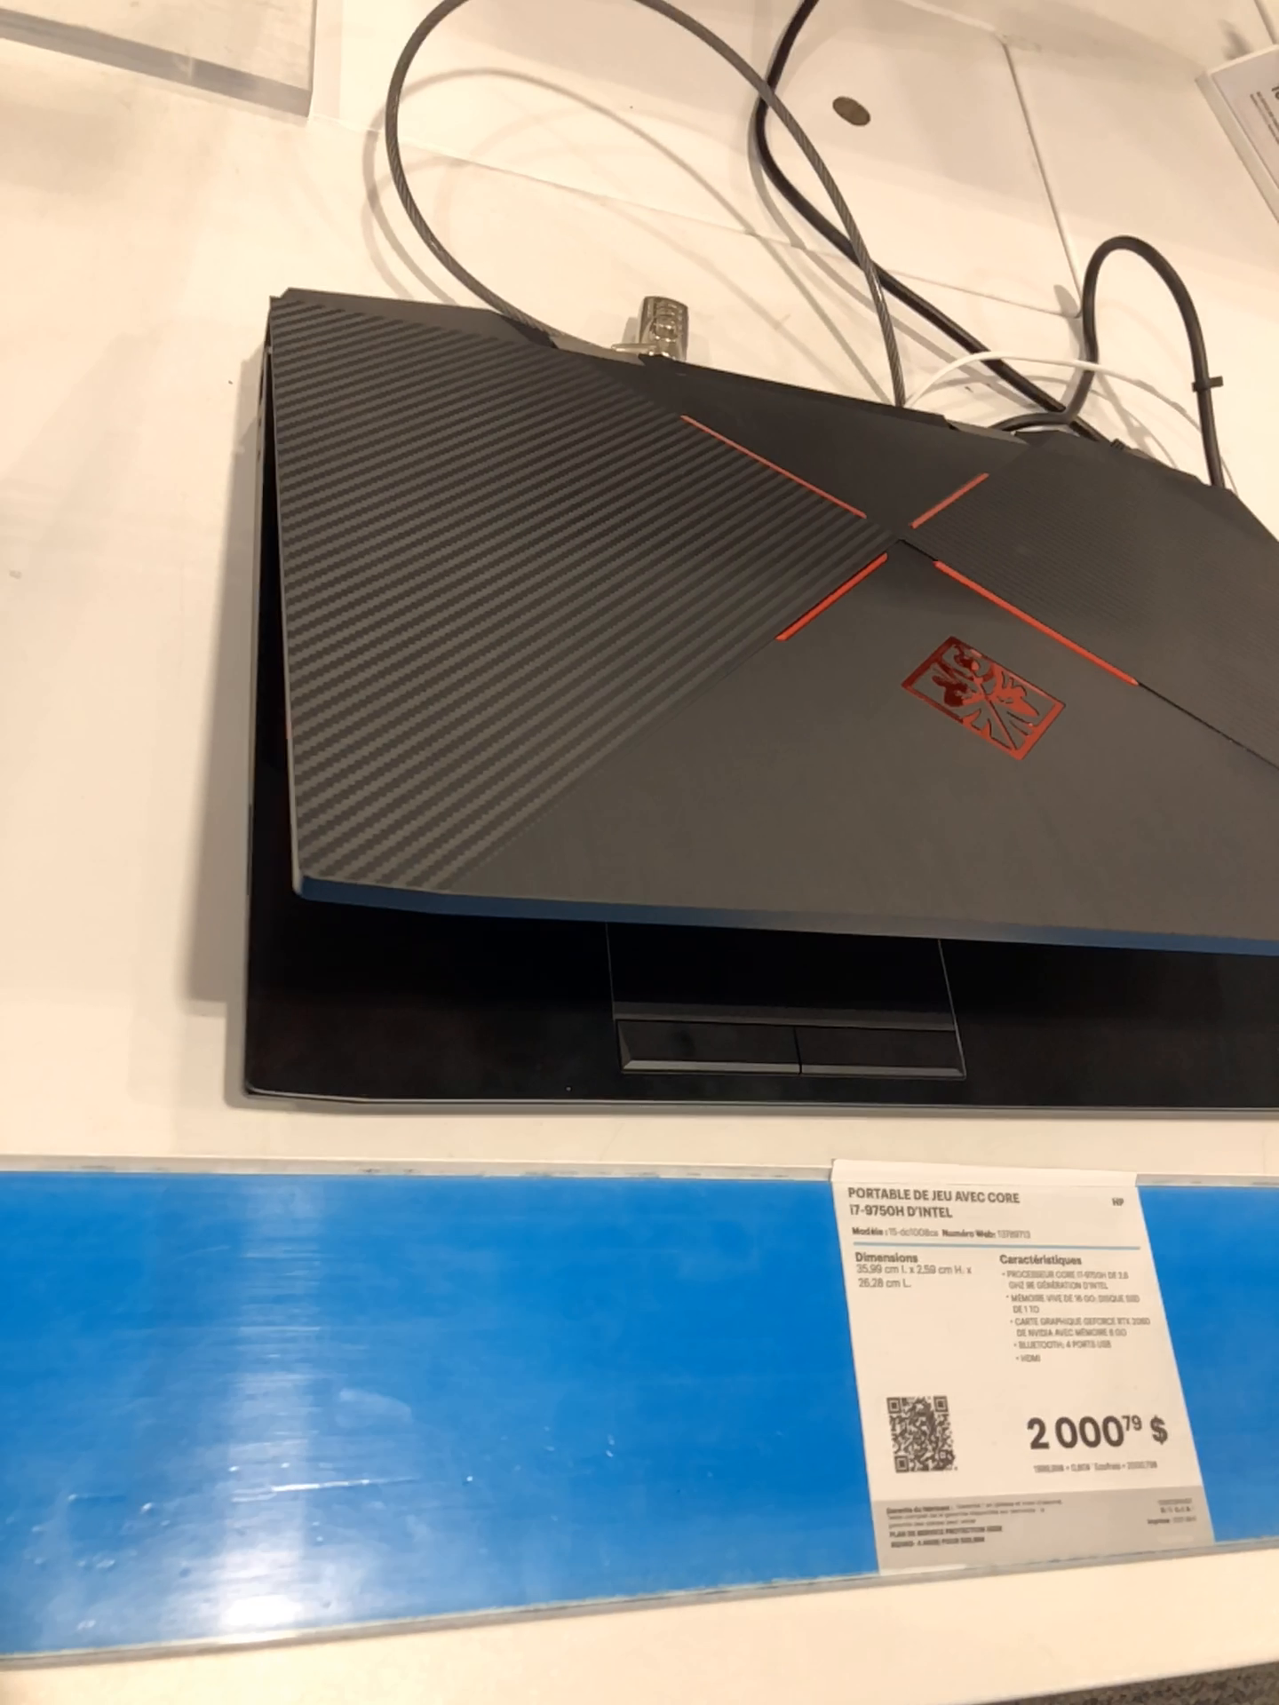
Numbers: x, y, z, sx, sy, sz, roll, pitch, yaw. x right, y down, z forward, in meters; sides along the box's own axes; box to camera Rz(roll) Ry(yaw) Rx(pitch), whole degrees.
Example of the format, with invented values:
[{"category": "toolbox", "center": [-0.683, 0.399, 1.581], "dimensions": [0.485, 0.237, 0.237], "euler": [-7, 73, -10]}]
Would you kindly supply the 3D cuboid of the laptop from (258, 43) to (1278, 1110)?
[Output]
[{"category": "laptop", "center": [0.080, -0.060, 0.390], "dimensions": [0.346, 0.085, 0.235], "euler": [5, 62, -20]}]
